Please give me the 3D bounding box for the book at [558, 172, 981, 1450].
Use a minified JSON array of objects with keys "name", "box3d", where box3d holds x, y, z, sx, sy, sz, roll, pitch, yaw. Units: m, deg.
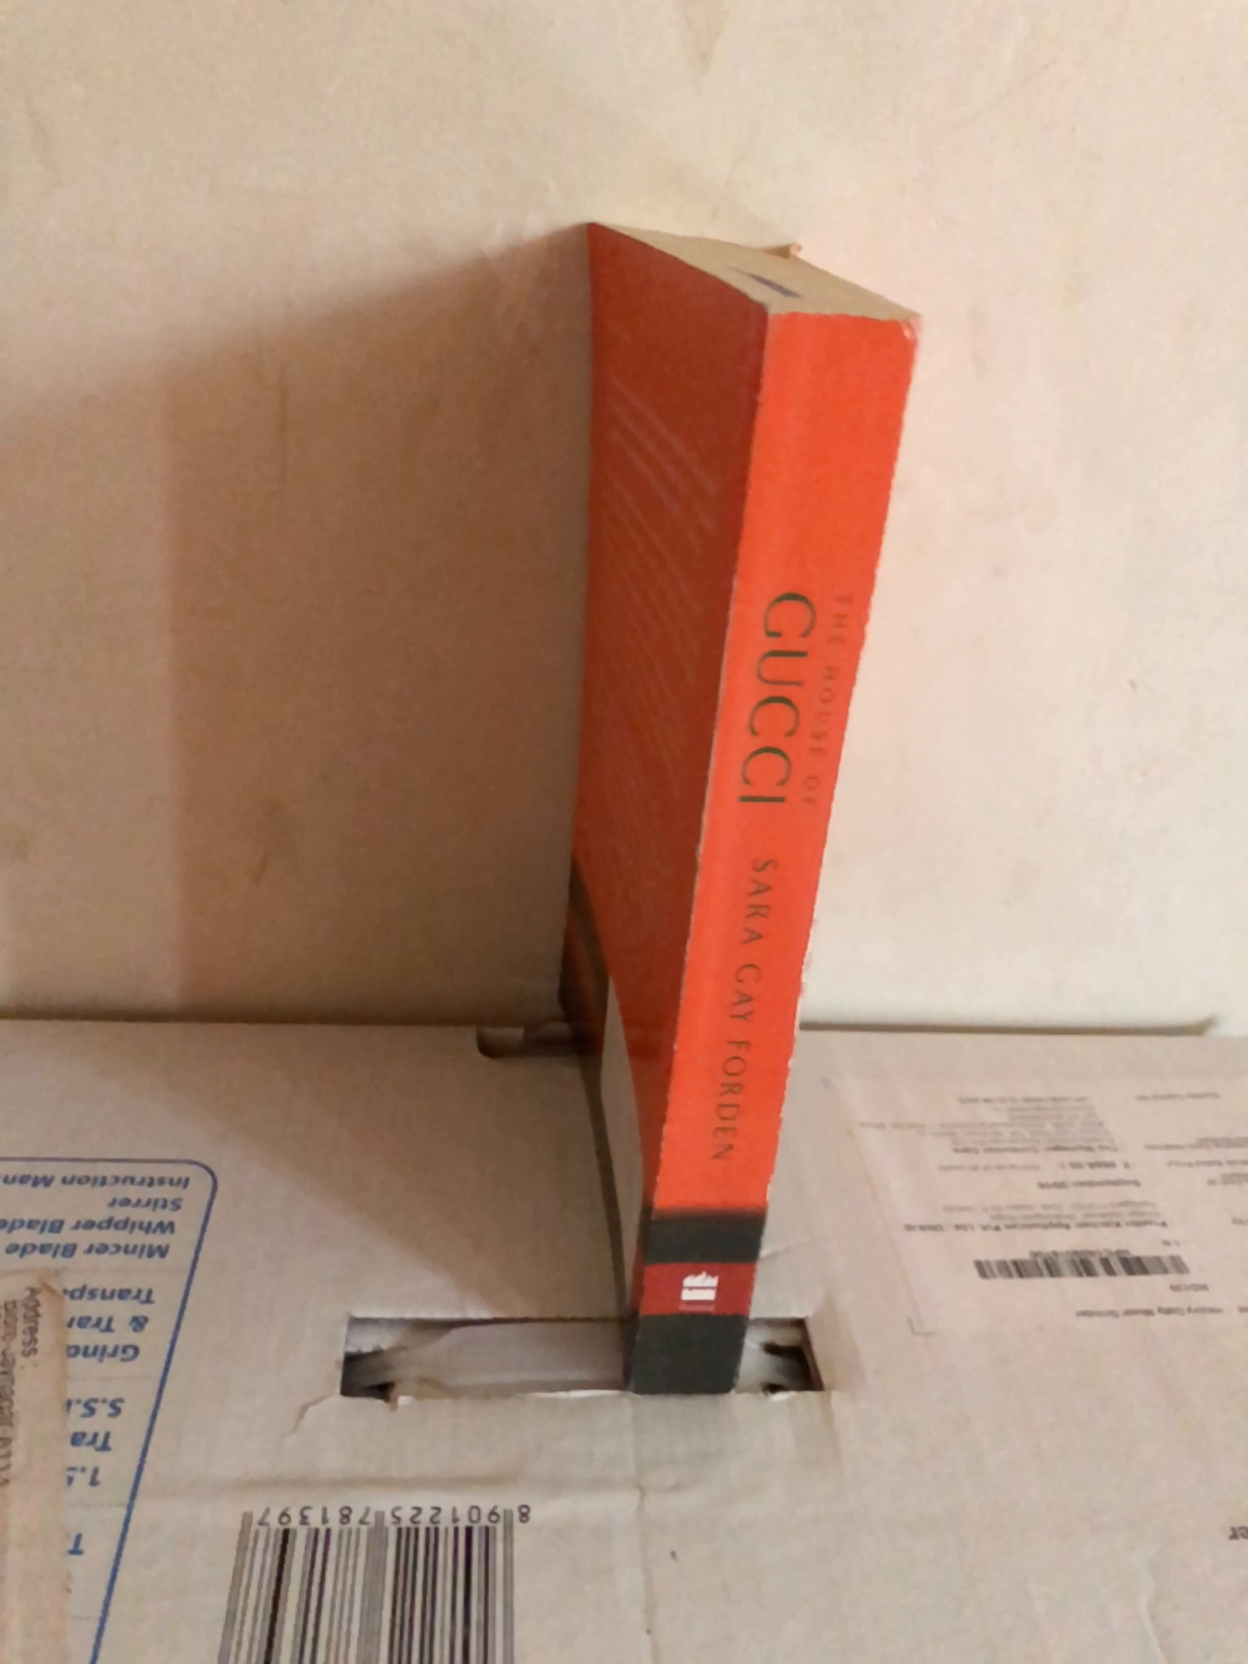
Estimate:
[{"name":"book","box3d":[0.015,-0.018,0.321,0.040,0.229,0.191,4,29,-3]}]
